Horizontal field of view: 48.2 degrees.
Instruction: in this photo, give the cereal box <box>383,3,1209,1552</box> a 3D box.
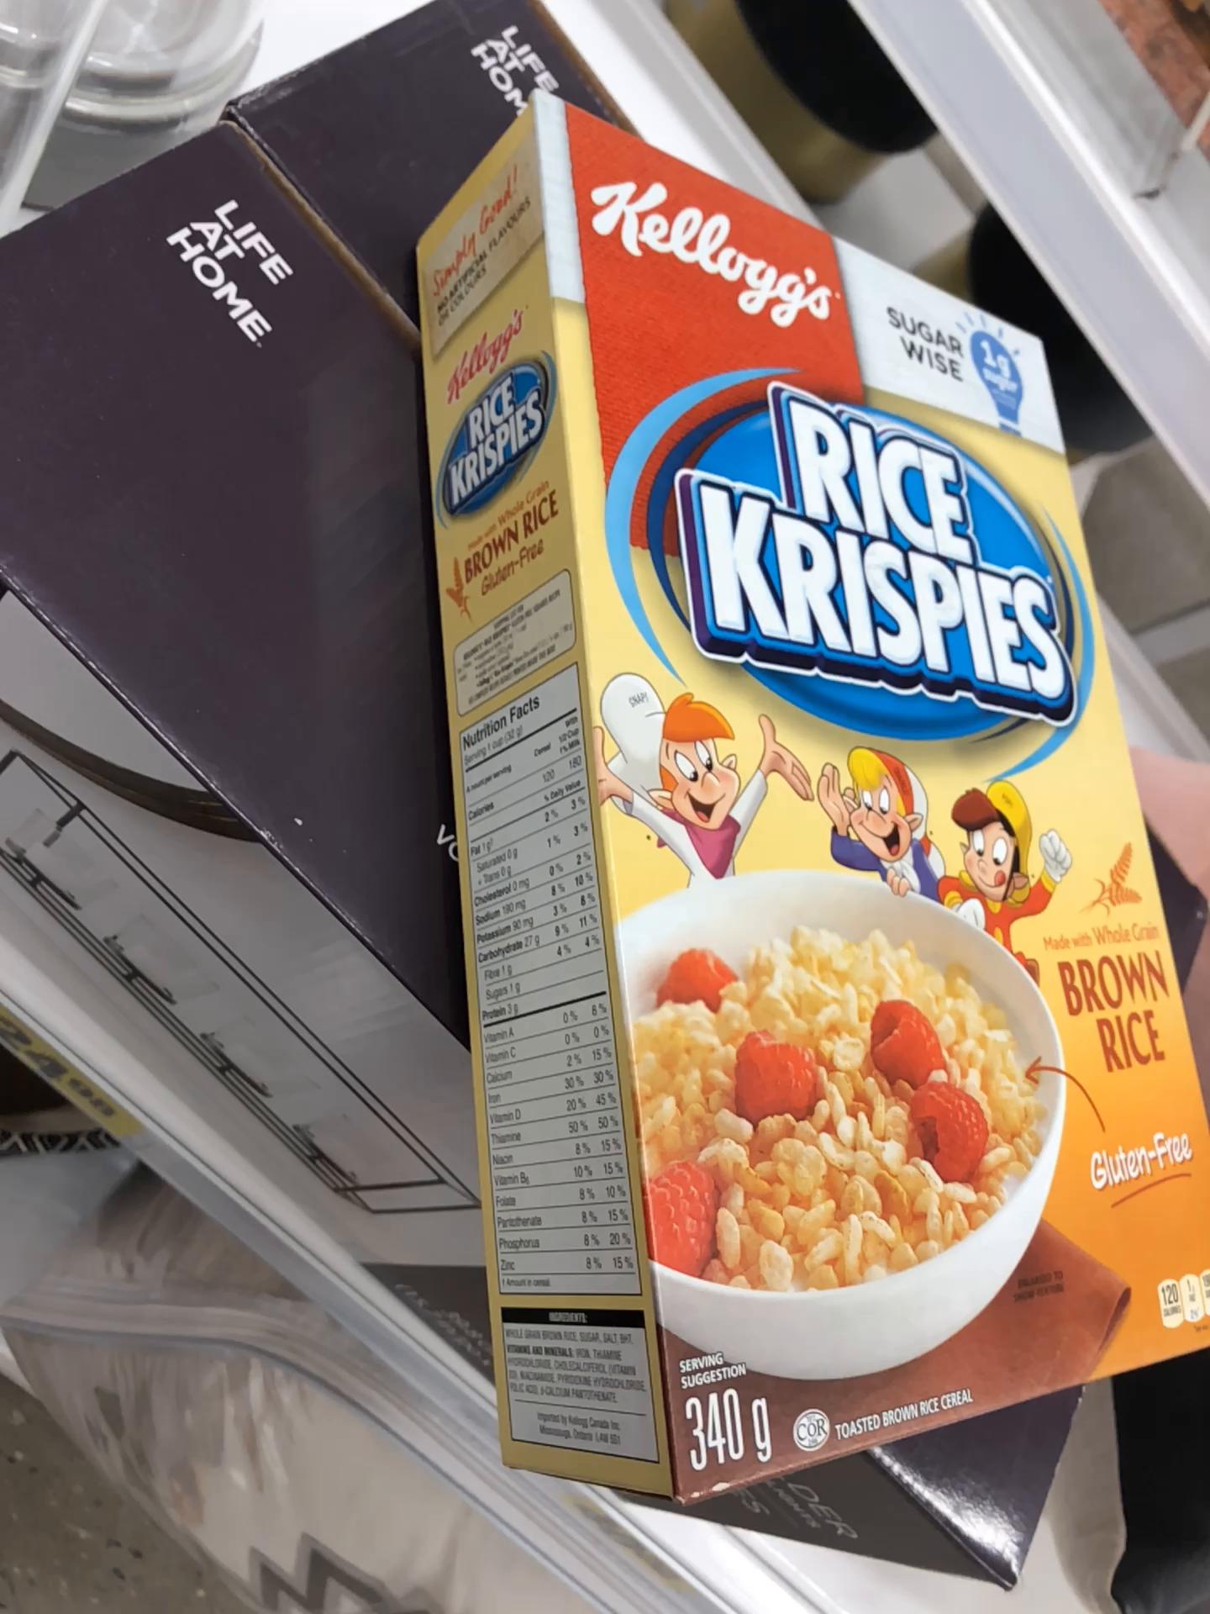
[{"bbox_3d":[0.059,-0.010,0.366,0.221,0.070,0.330,10,67,-39],"label":"cereal box"}]
